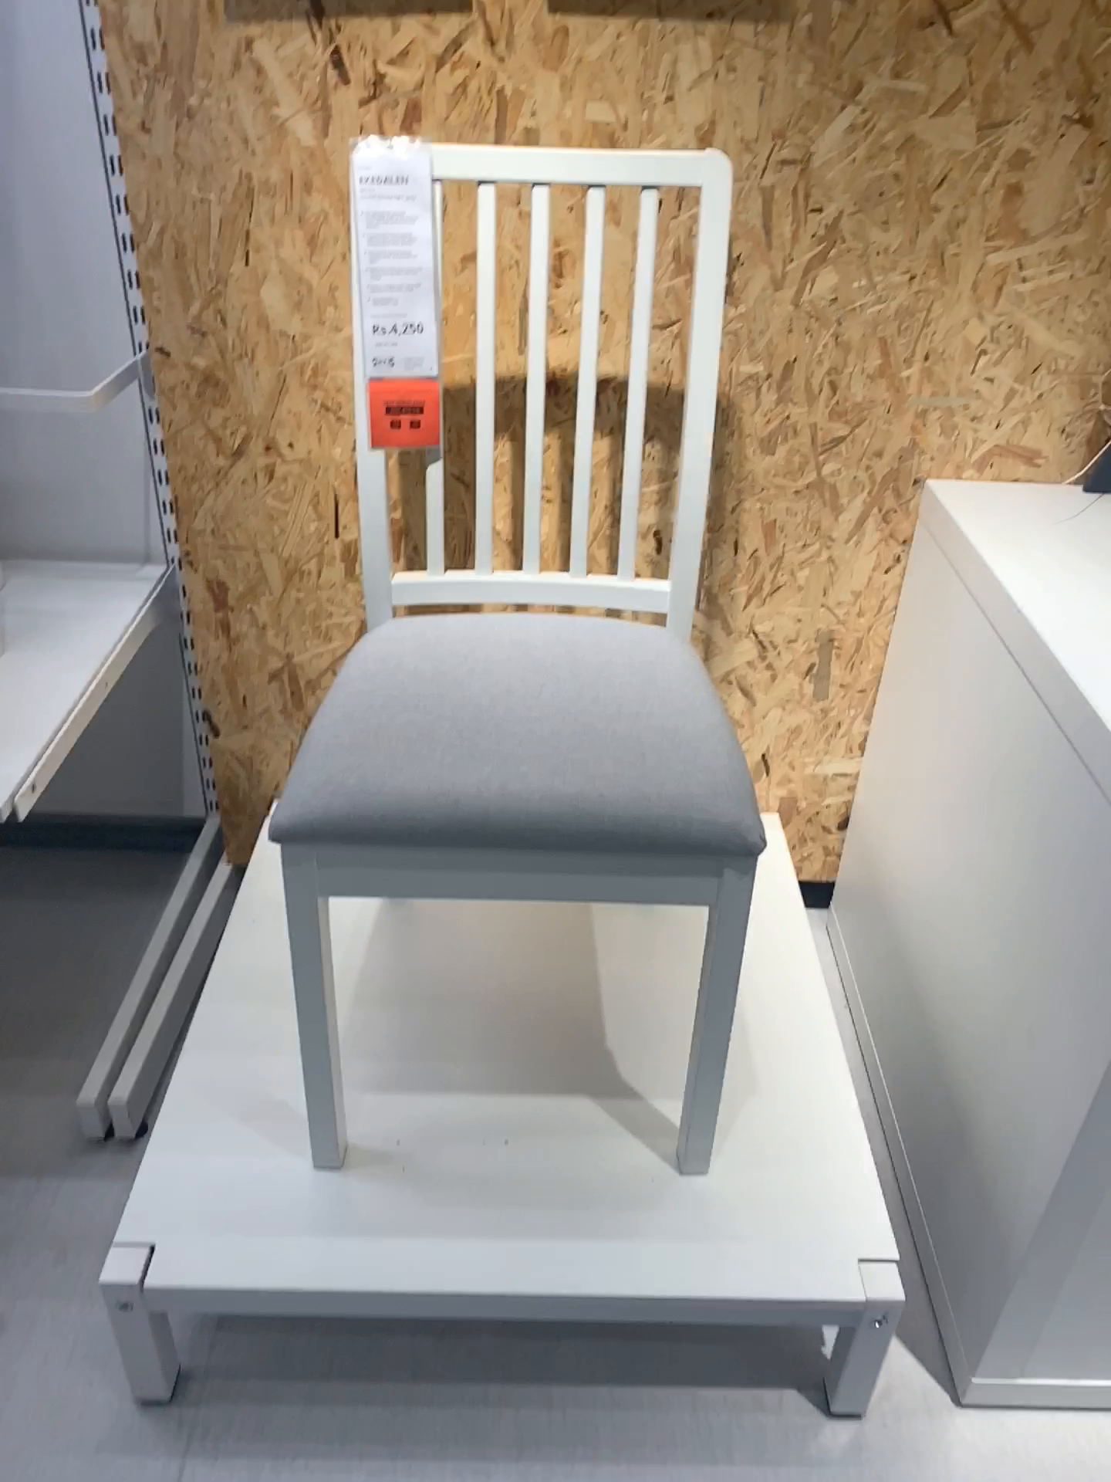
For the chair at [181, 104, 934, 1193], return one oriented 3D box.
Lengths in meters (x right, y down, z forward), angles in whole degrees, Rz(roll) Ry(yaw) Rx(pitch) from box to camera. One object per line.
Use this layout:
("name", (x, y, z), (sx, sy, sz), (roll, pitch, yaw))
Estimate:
("chair", (-0.013, -0.067, 1.140), (0.450, 0.956, 0.492), (2, 33, -1))
